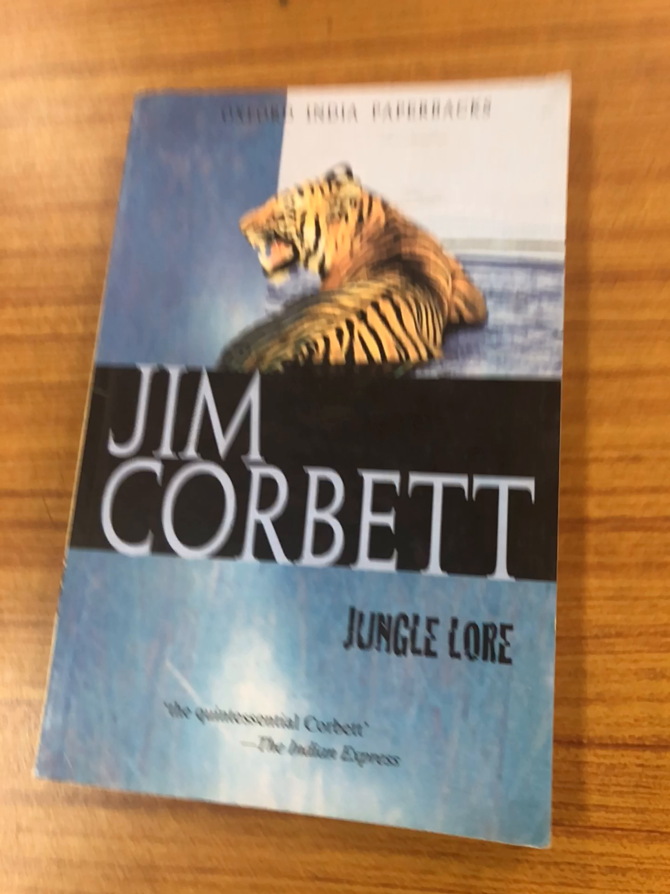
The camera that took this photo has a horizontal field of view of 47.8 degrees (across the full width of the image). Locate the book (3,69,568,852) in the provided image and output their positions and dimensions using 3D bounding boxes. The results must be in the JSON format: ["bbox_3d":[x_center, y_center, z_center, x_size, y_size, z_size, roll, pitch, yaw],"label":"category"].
[{"bbox_3d":[-0.010,-0.009,0.225,0.150,0.010,0.220,2,79,9],"label":"book"}]
